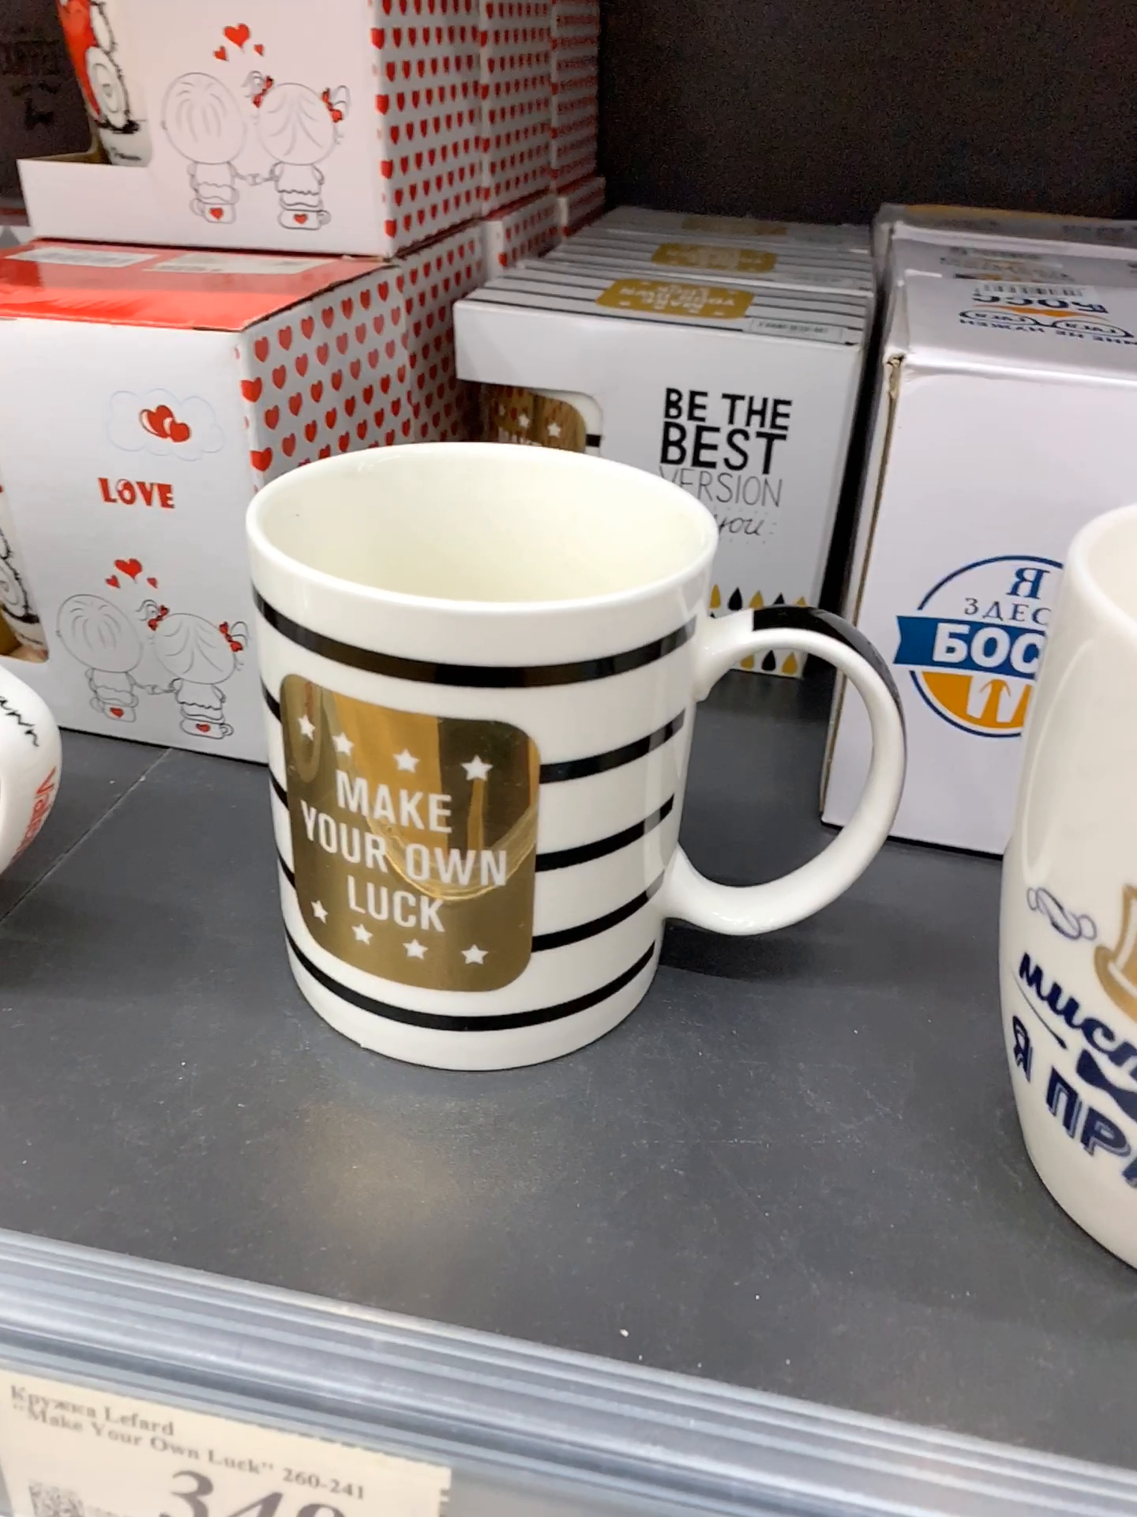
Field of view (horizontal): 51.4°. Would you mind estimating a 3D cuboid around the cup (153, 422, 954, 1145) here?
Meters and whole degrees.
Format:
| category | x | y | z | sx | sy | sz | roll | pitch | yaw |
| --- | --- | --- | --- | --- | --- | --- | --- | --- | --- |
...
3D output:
| category | x | y | z | sx | sy | sz | roll | pitch | yaw |
| --- | --- | --- | --- | --- | --- | --- | --- | --- | --- |
| cup | 0.000 | 0.000 | 0.226 | 0.114 | 0.096 | 0.082 | 7 | 32 | 6 |
